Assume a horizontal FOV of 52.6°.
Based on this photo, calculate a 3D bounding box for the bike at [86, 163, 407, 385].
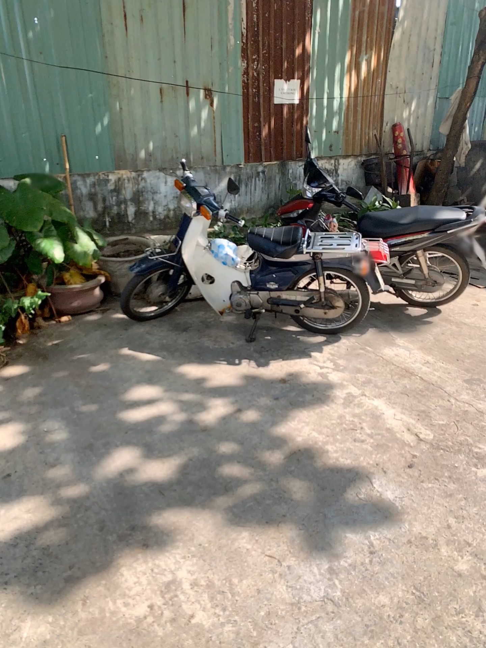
[{"bbox_3d":[0.009,-0.294,2.756,1.474,1.024,0.656,-1,24,2],"label":"bike"}]
